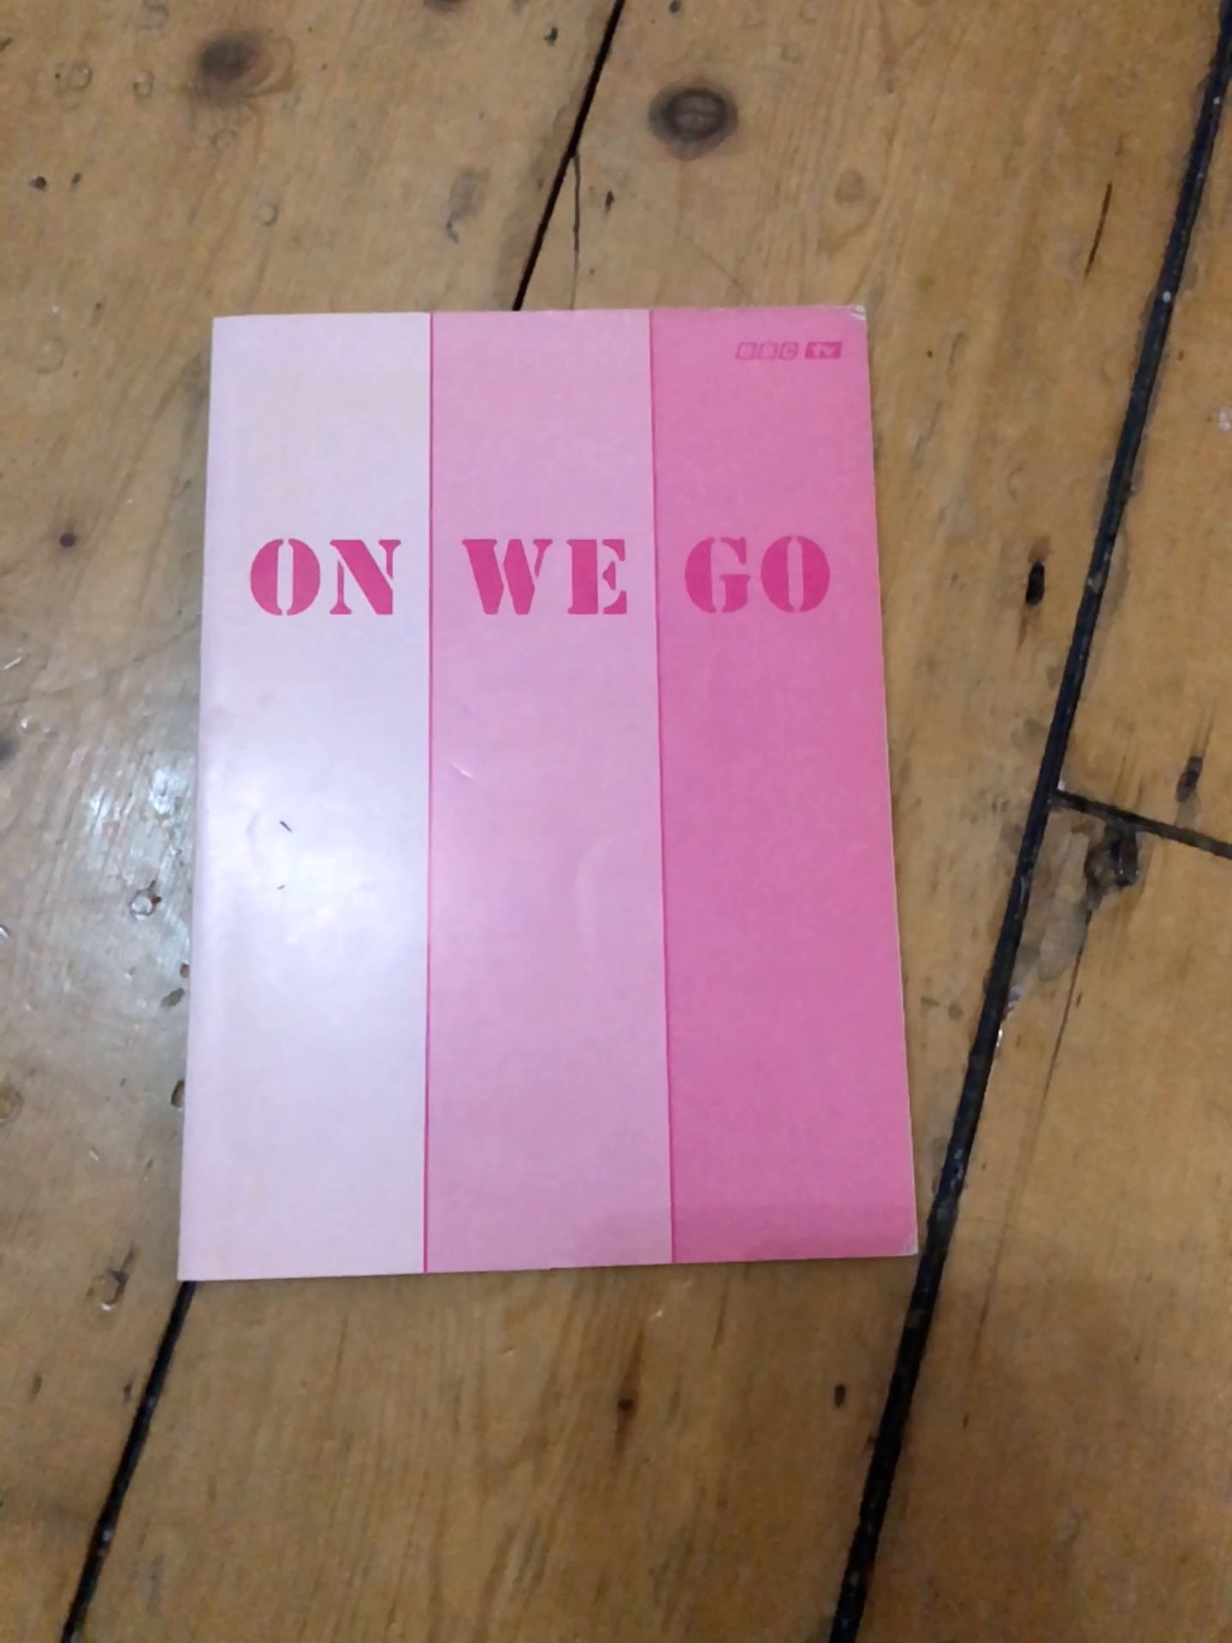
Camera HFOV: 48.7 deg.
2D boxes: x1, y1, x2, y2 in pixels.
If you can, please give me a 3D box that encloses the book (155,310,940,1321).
[{"bbox_3d":[-0.016,-0.007,0.306,0.160,0.020,0.220,-1,80,-2],"label":"book"}]
